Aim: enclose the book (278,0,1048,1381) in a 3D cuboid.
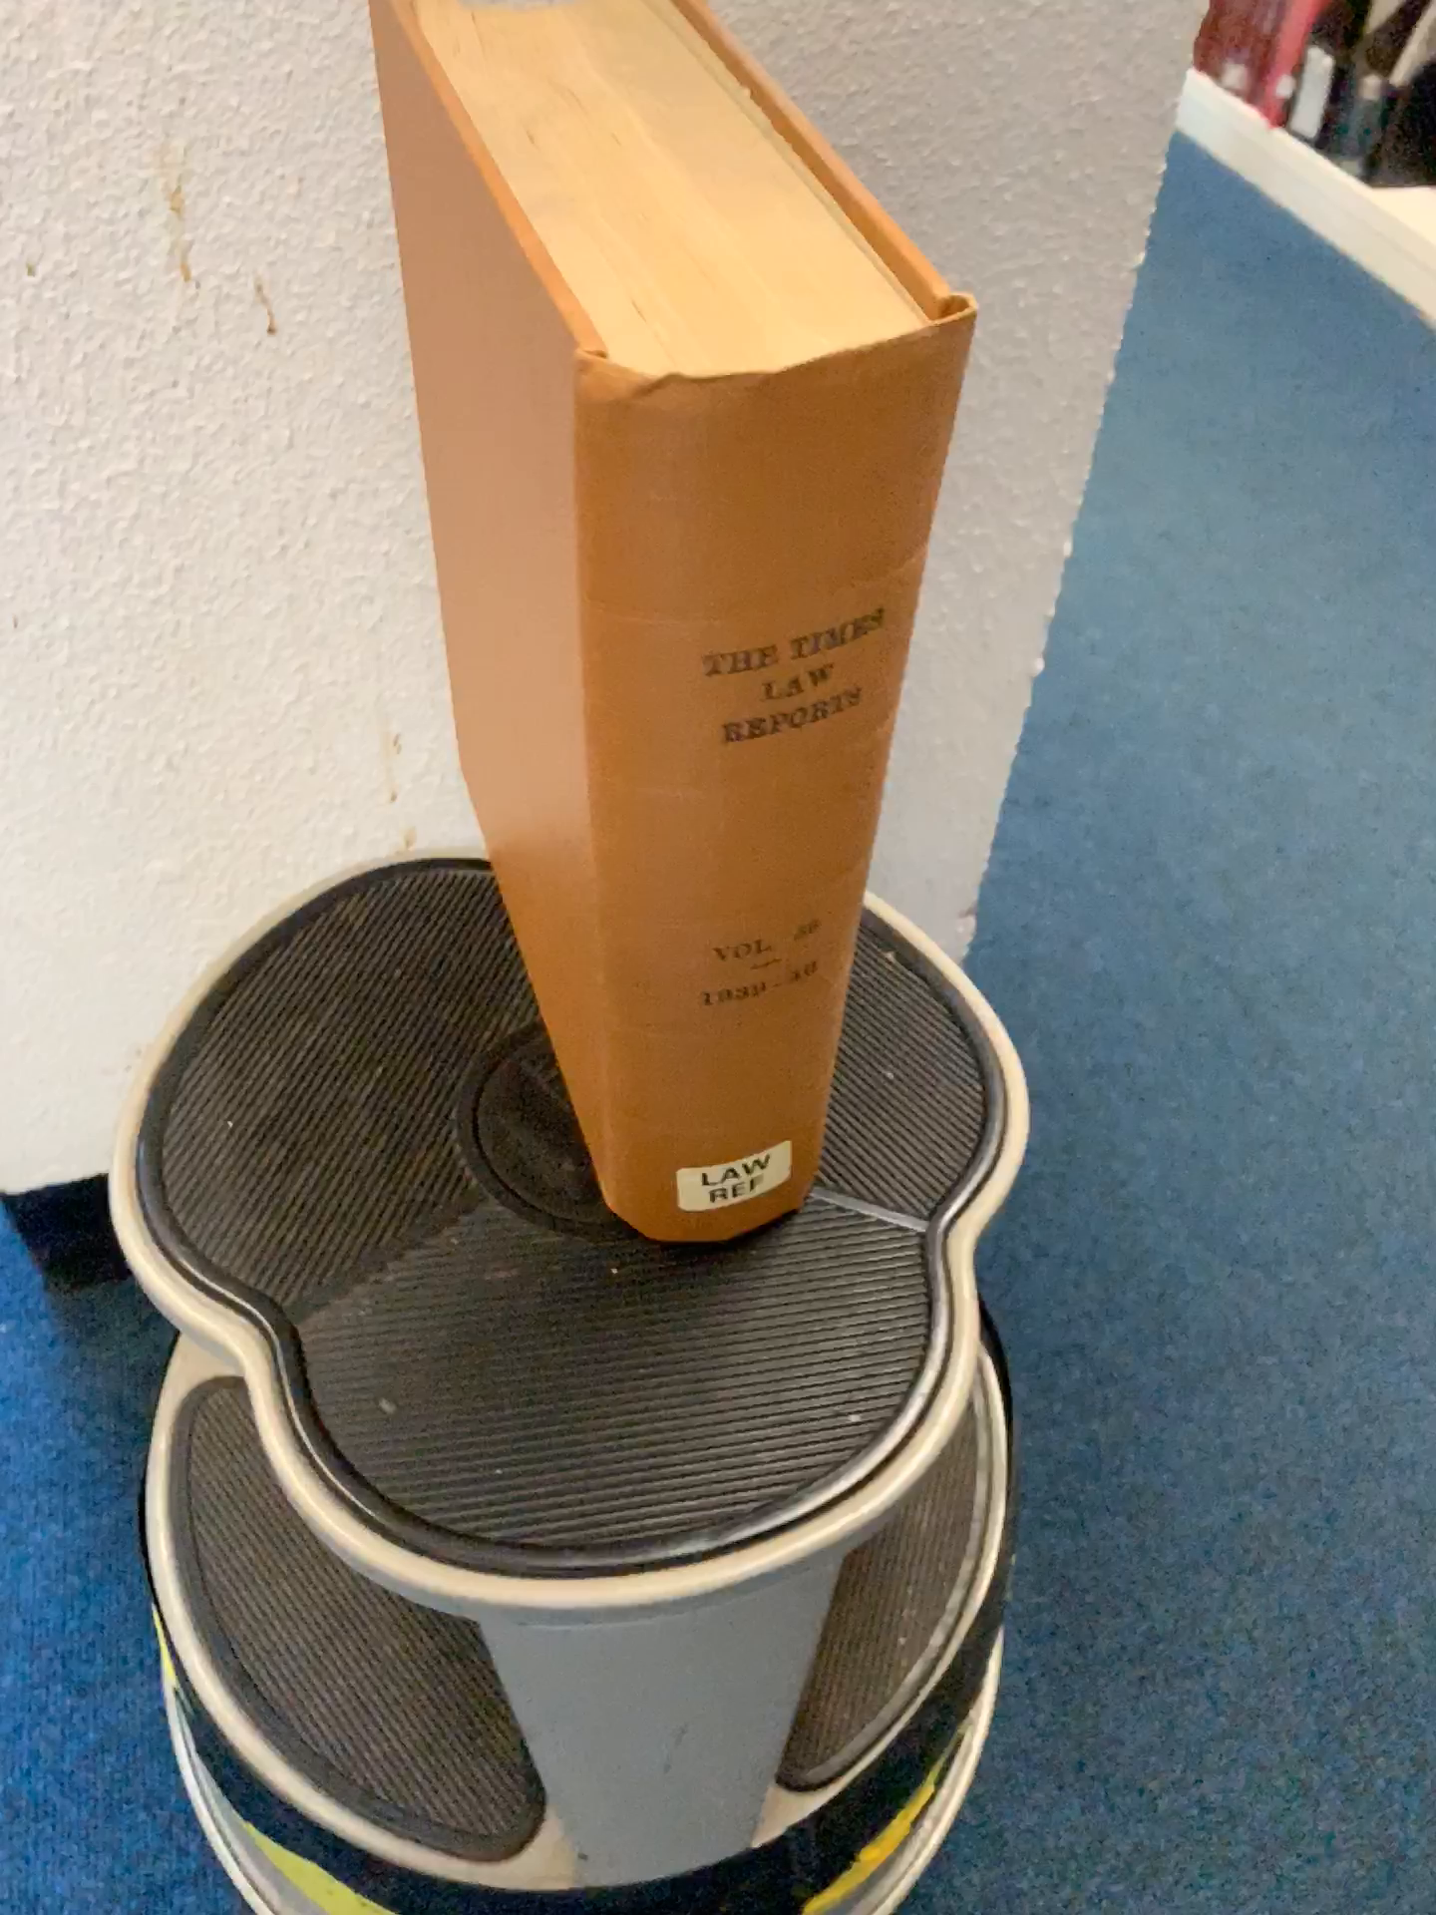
[{"bbox_3d":[-0.035,-0.071,0.417,0.090,0.337,0.222,-12,49,-15],"label":"book"}]
